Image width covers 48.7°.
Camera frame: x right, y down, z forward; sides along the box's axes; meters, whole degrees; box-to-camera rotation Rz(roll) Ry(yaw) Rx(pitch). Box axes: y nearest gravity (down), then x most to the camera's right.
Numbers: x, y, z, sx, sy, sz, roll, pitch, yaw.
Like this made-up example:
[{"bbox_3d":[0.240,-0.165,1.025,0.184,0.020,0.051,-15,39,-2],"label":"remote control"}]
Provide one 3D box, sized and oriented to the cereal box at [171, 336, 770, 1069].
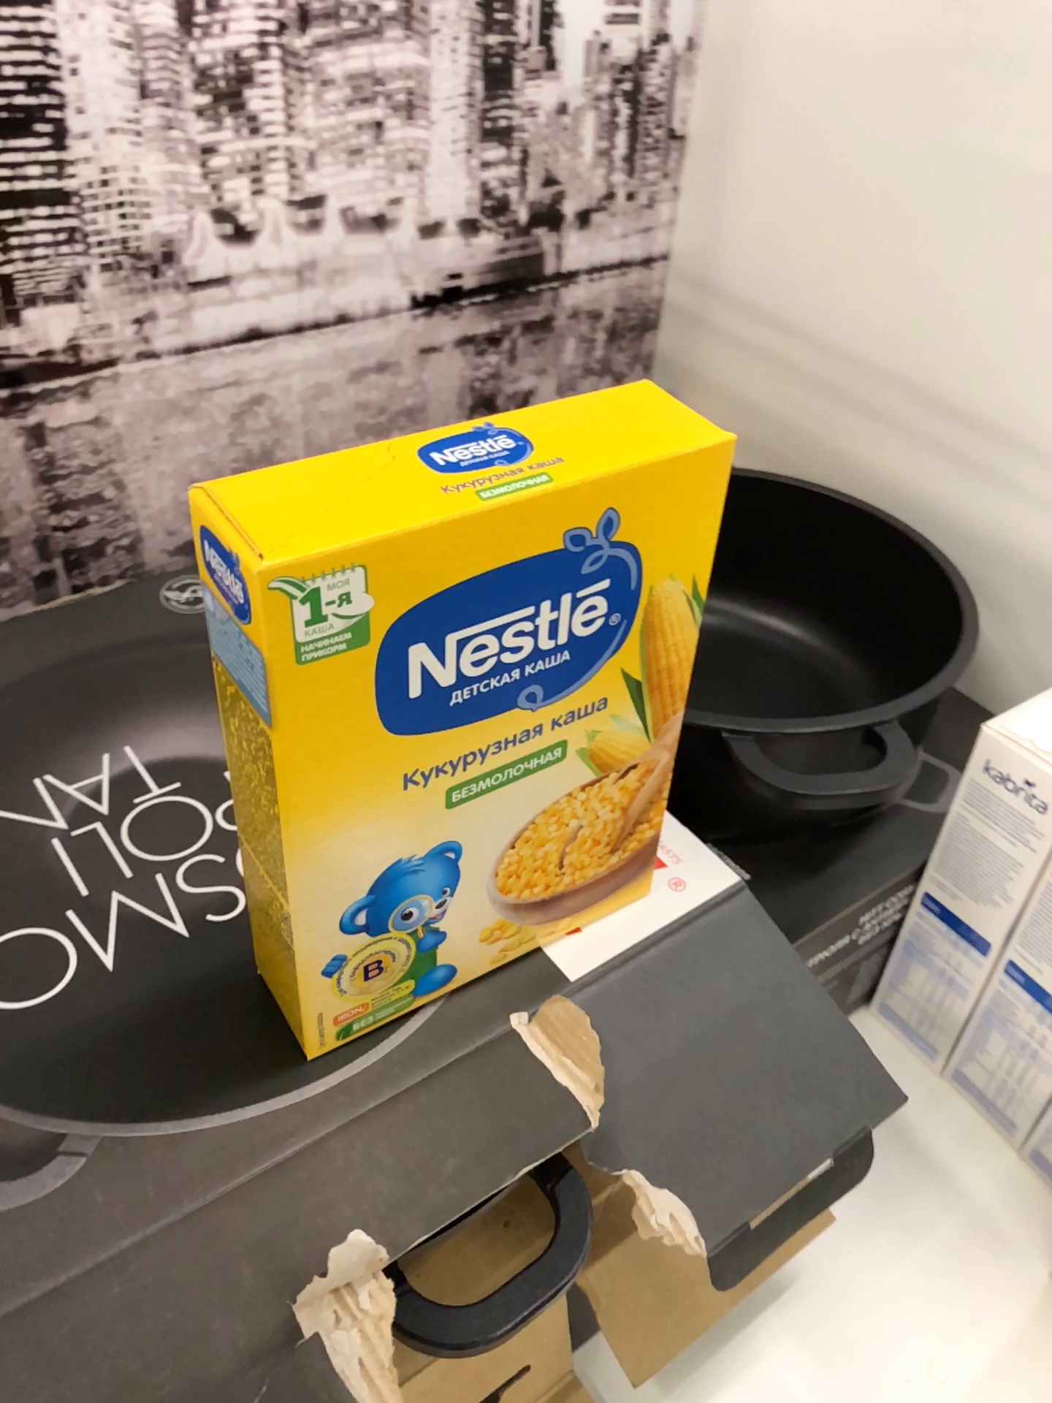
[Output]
[{"bbox_3d":[-0.015,0.004,0.363,0.150,0.199,0.050,-21,45,-27],"label":"cereal box"}]
